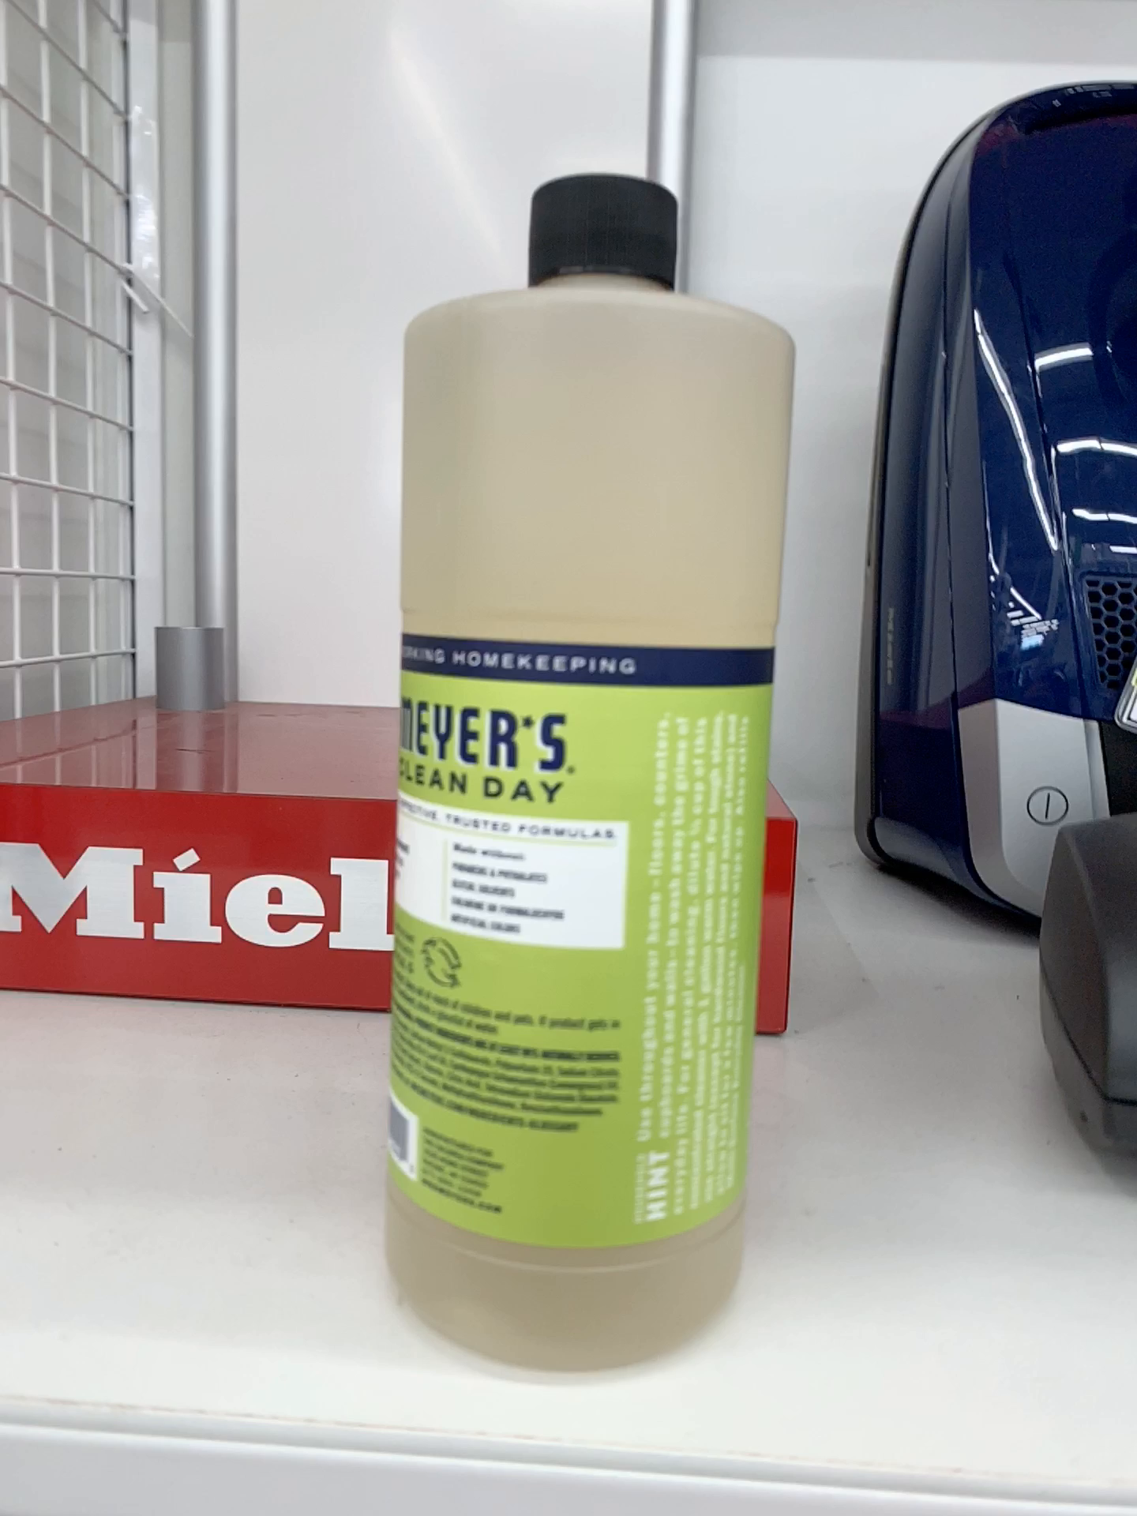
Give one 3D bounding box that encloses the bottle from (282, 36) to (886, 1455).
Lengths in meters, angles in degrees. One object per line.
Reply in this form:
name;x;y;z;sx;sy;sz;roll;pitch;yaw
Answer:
bottle;0.001;-0.002;0.259;0.090;0.240;0.090;2;7;0
